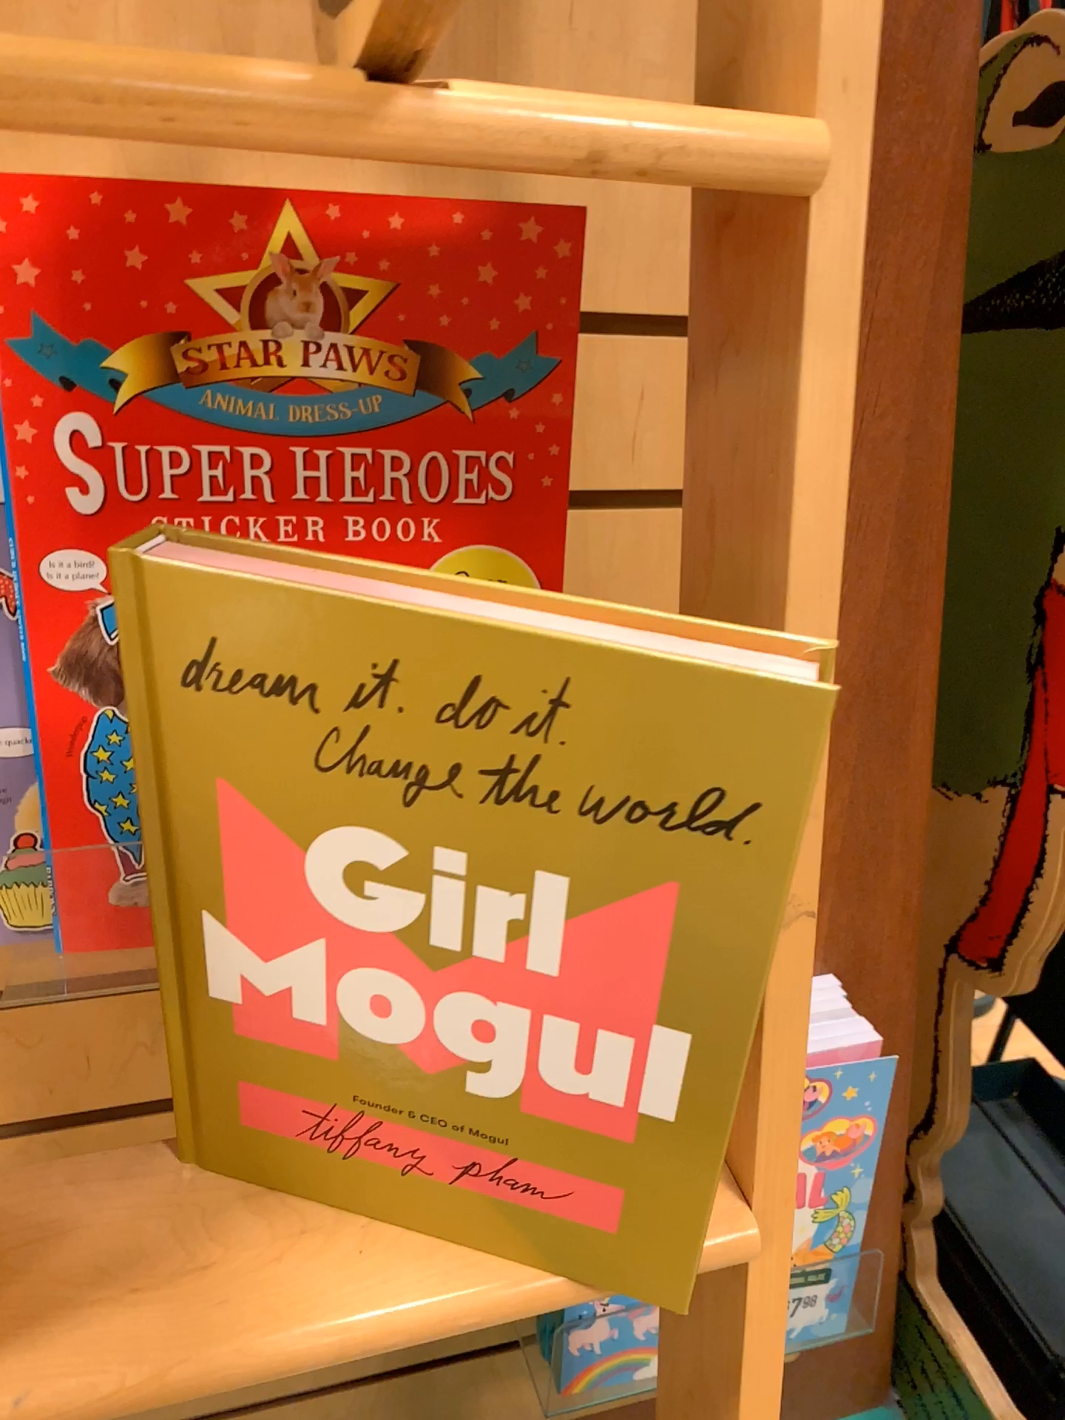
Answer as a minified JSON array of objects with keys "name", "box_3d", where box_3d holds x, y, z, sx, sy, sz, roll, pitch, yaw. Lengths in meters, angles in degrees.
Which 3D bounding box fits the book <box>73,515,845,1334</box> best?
[{"name":"book","box_3d":[-0.028,0.069,0.310,0.180,0.219,0.030,11,29,10]}]
